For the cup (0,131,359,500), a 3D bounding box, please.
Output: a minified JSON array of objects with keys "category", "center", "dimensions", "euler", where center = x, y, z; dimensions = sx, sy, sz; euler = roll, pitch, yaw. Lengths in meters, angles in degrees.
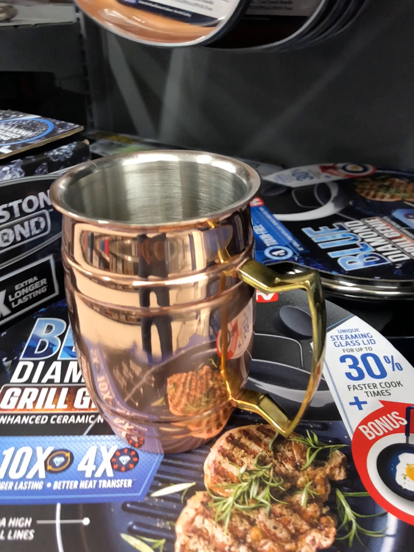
[{"category":"cup","center":[-0.008,0.011,0.222],"dimensions":[0.127,0.126,0.087],"euler":[11,33,16]}]
